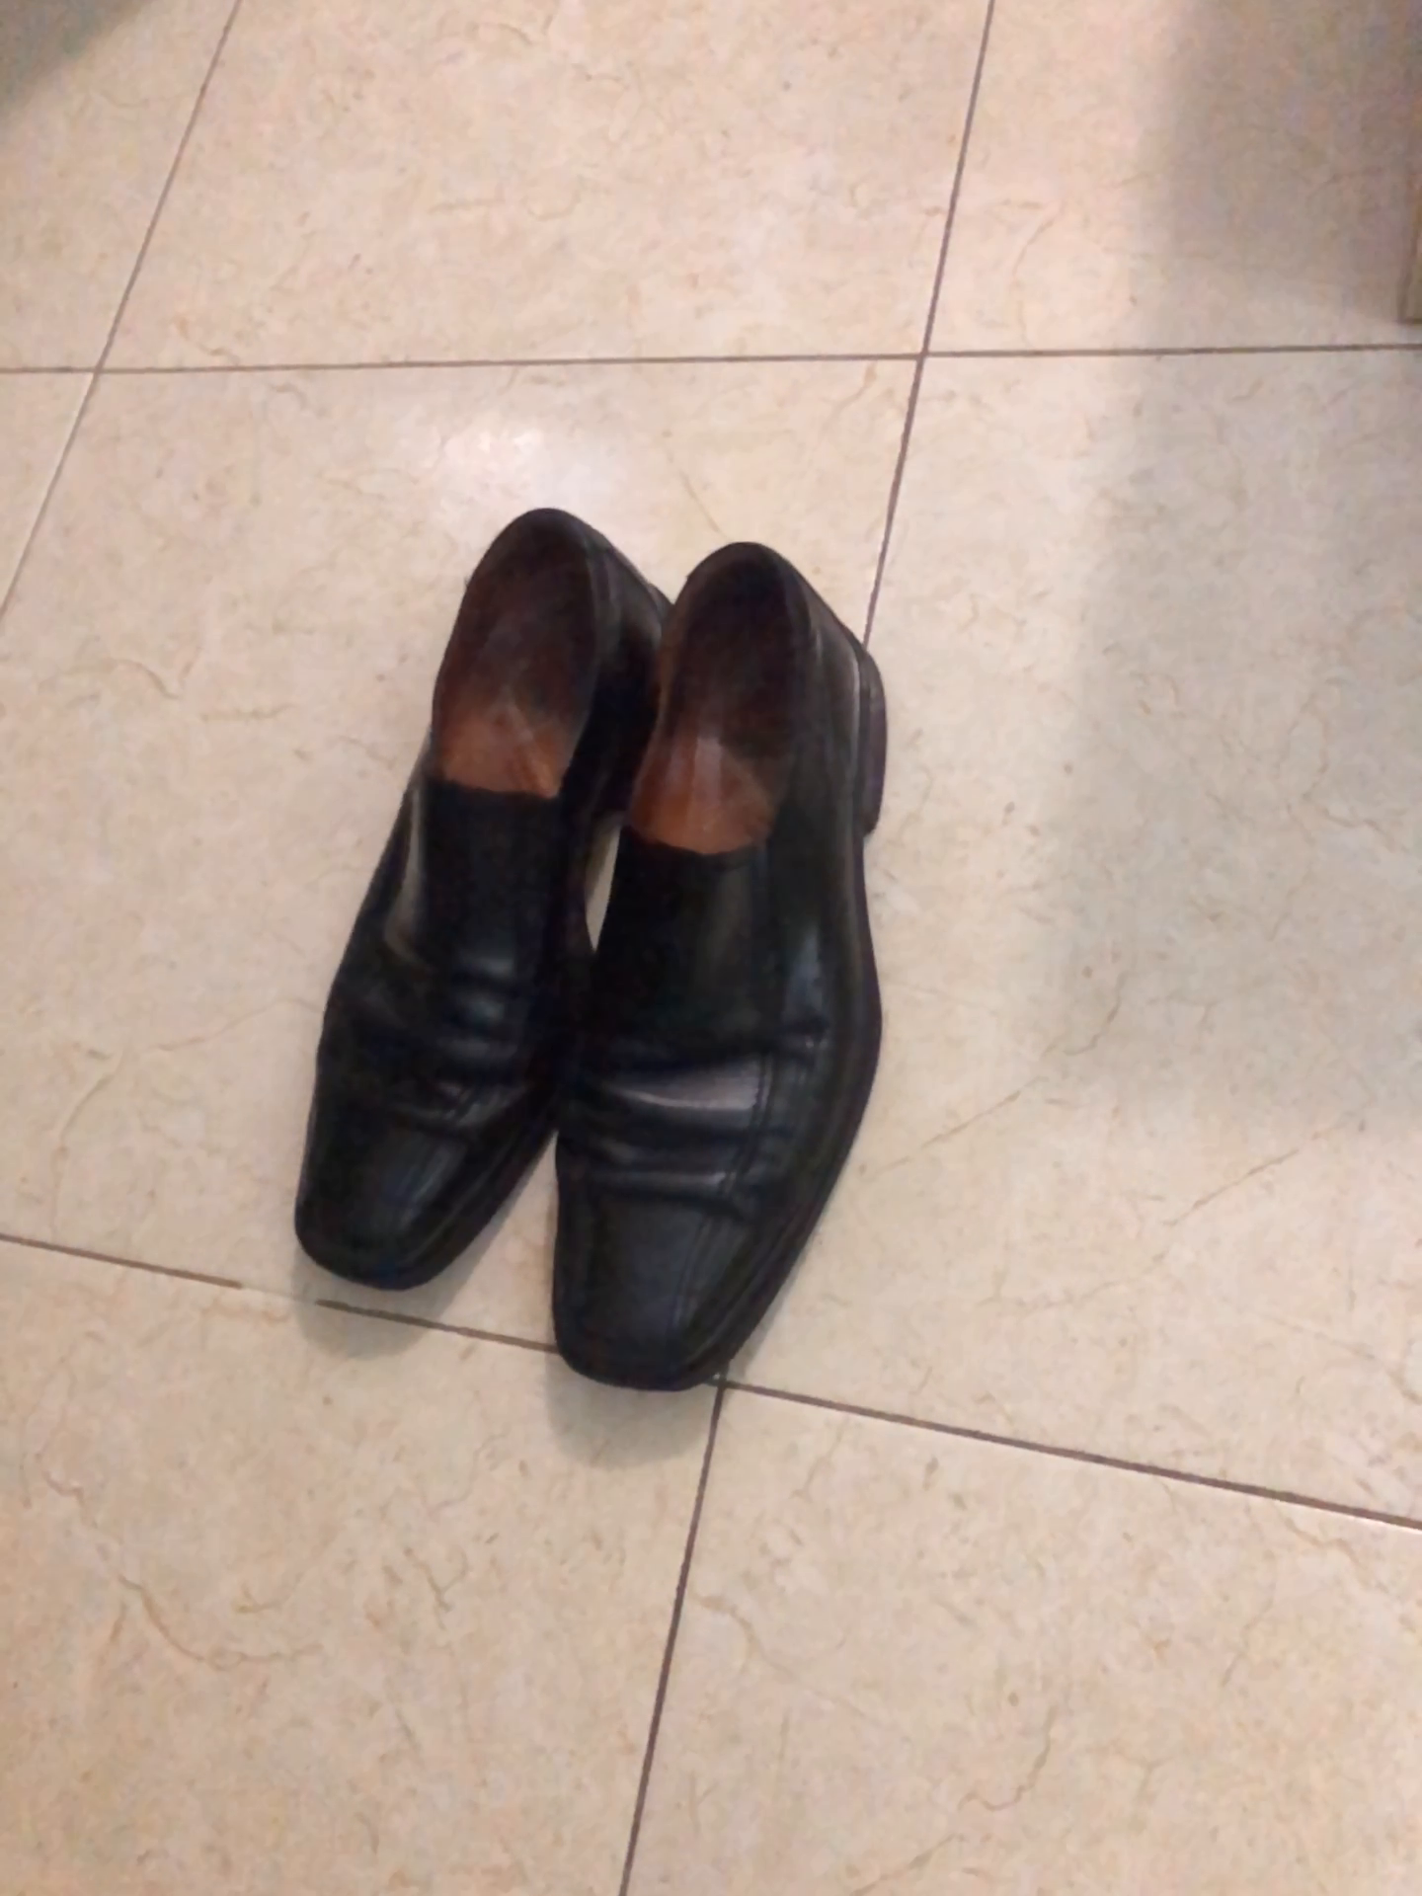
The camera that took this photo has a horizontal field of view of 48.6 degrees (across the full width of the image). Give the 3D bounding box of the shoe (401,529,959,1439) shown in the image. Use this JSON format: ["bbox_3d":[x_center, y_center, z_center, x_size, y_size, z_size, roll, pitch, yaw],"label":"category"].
[{"bbox_3d":[0.001,0.006,0.579,0.120,0.090,0.310,7,71,19],"label":"shoe"}]

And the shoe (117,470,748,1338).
[{"bbox_3d":[-0.096,-0.023,0.612,0.120,0.090,0.310,11,73,20],"label":"shoe"}]
